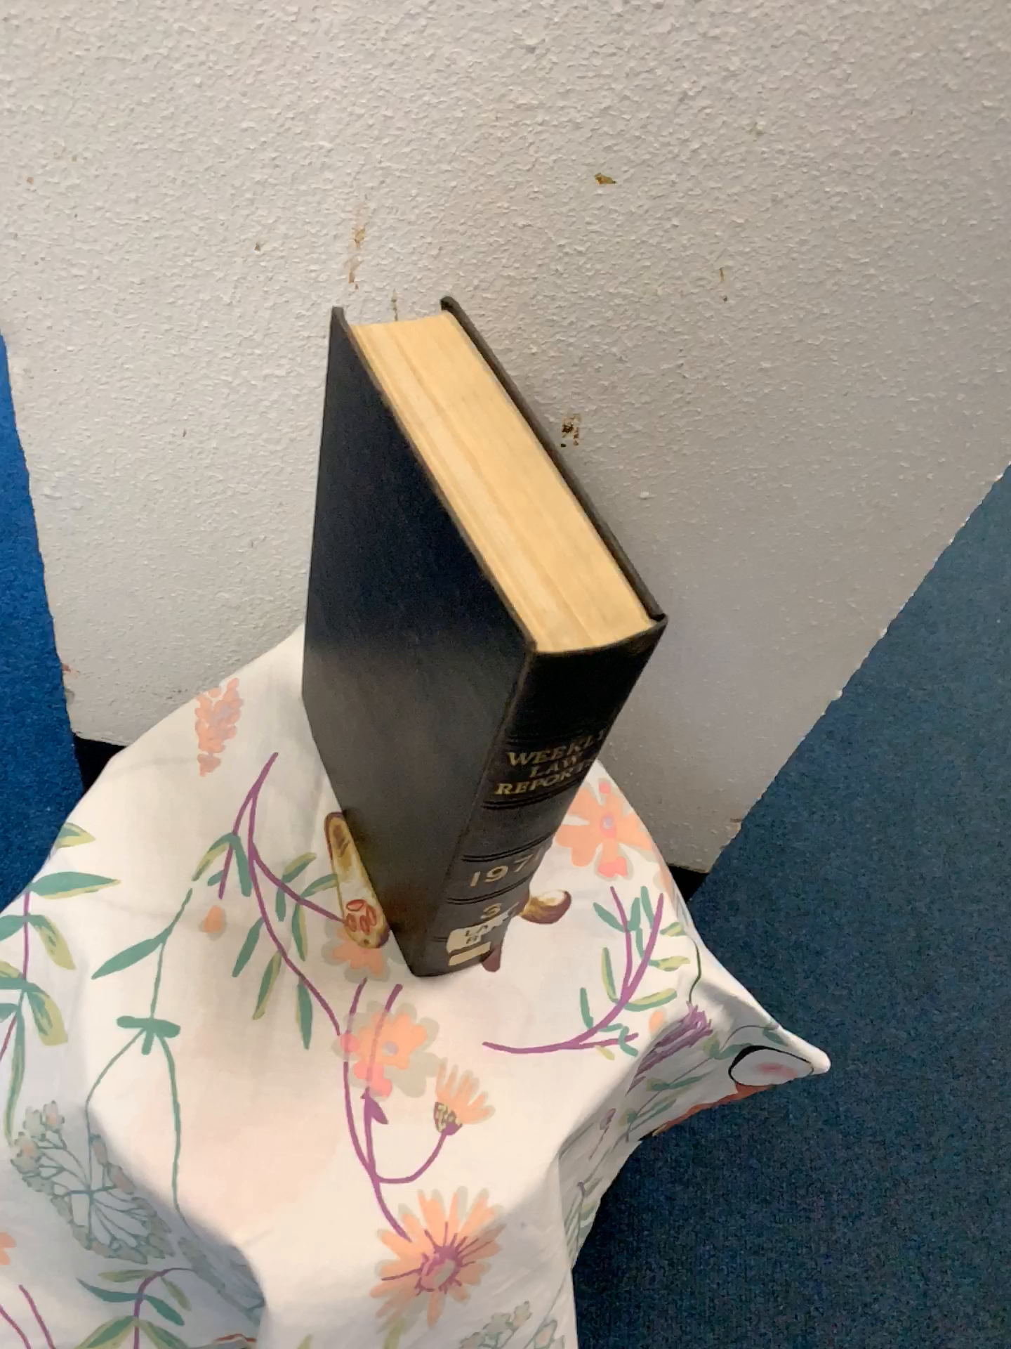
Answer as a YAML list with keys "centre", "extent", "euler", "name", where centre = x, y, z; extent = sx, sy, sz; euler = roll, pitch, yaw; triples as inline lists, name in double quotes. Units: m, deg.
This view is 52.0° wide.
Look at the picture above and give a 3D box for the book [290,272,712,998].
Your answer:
- centre: [-0.026, -0.001, 0.410]
  extent: [0.052, 0.244, 0.162]
  euler: [-15, 58, -26]
  name: "book"
